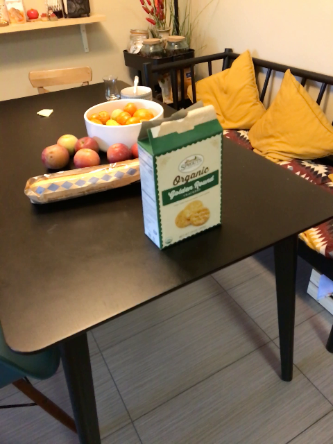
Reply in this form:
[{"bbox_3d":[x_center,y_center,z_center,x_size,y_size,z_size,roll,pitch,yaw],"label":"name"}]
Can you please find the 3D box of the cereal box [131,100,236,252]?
[{"bbox_3d":[0.038,-0.089,0.705,0.171,0.248,0.080,-21,39,-23],"label":"cereal box"}]
